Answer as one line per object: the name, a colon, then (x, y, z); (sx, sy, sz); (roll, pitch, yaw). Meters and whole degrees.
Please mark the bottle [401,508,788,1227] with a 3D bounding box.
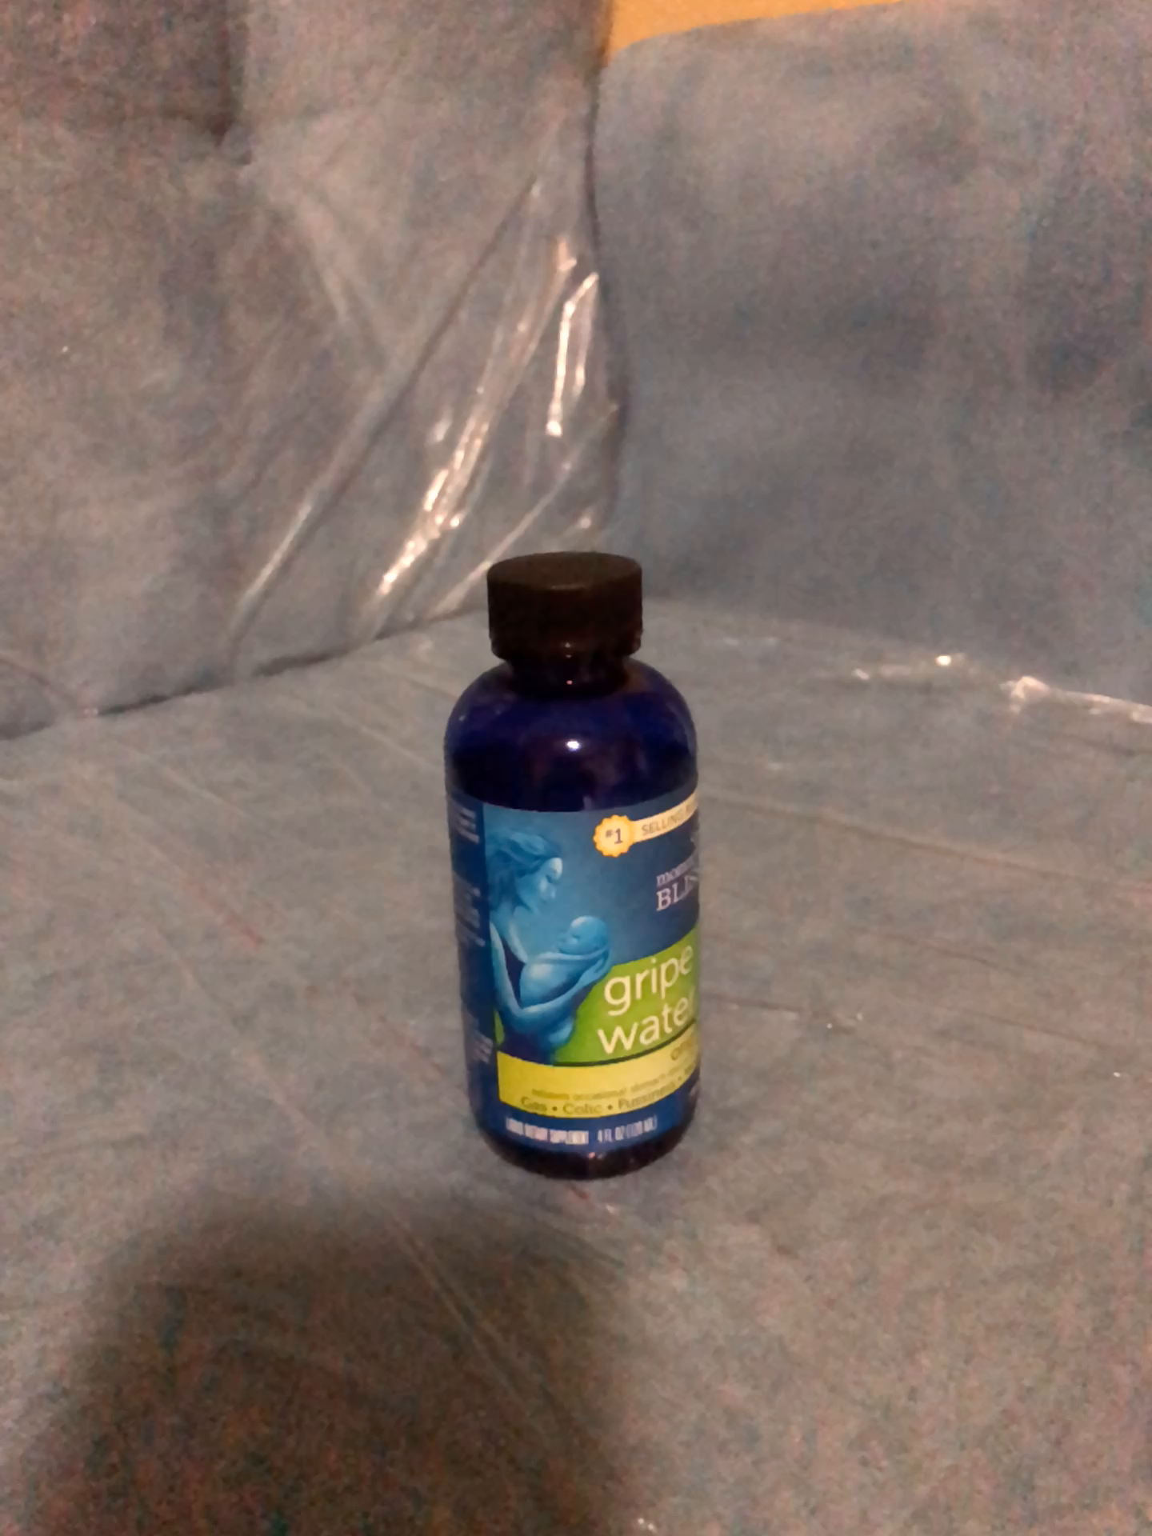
bottle: (0.002, 0.017, 0.247); (0.050, 0.120, 0.050); (0, 23, 0)
